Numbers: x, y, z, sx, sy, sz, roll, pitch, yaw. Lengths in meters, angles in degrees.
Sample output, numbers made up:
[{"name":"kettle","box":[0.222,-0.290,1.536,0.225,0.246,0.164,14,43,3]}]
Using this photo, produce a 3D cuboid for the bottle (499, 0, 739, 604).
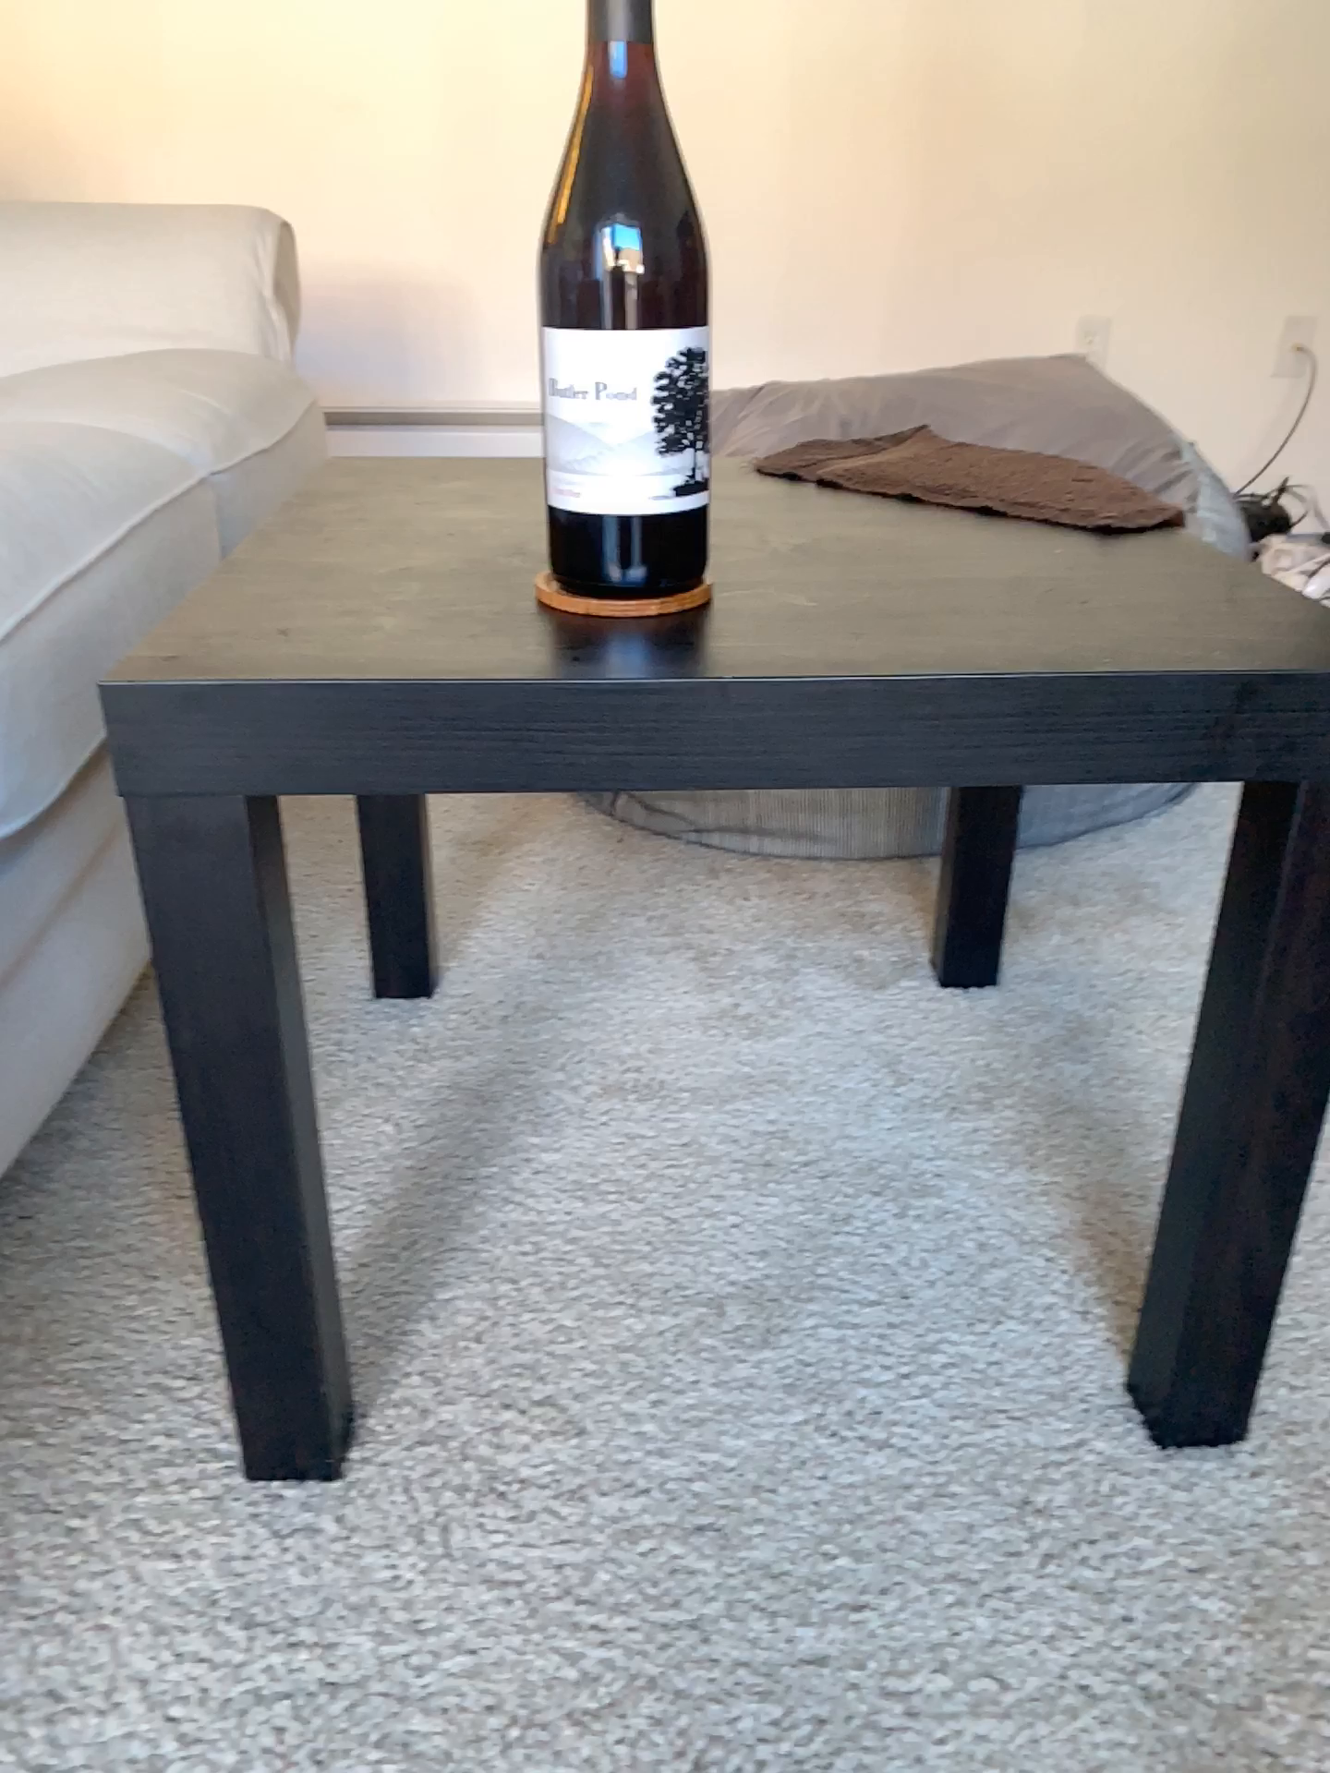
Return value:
[{"name":"bottle","box":[-0.019,-0.262,0.558,0.080,0.268,0.101,1,26,-1]}]
